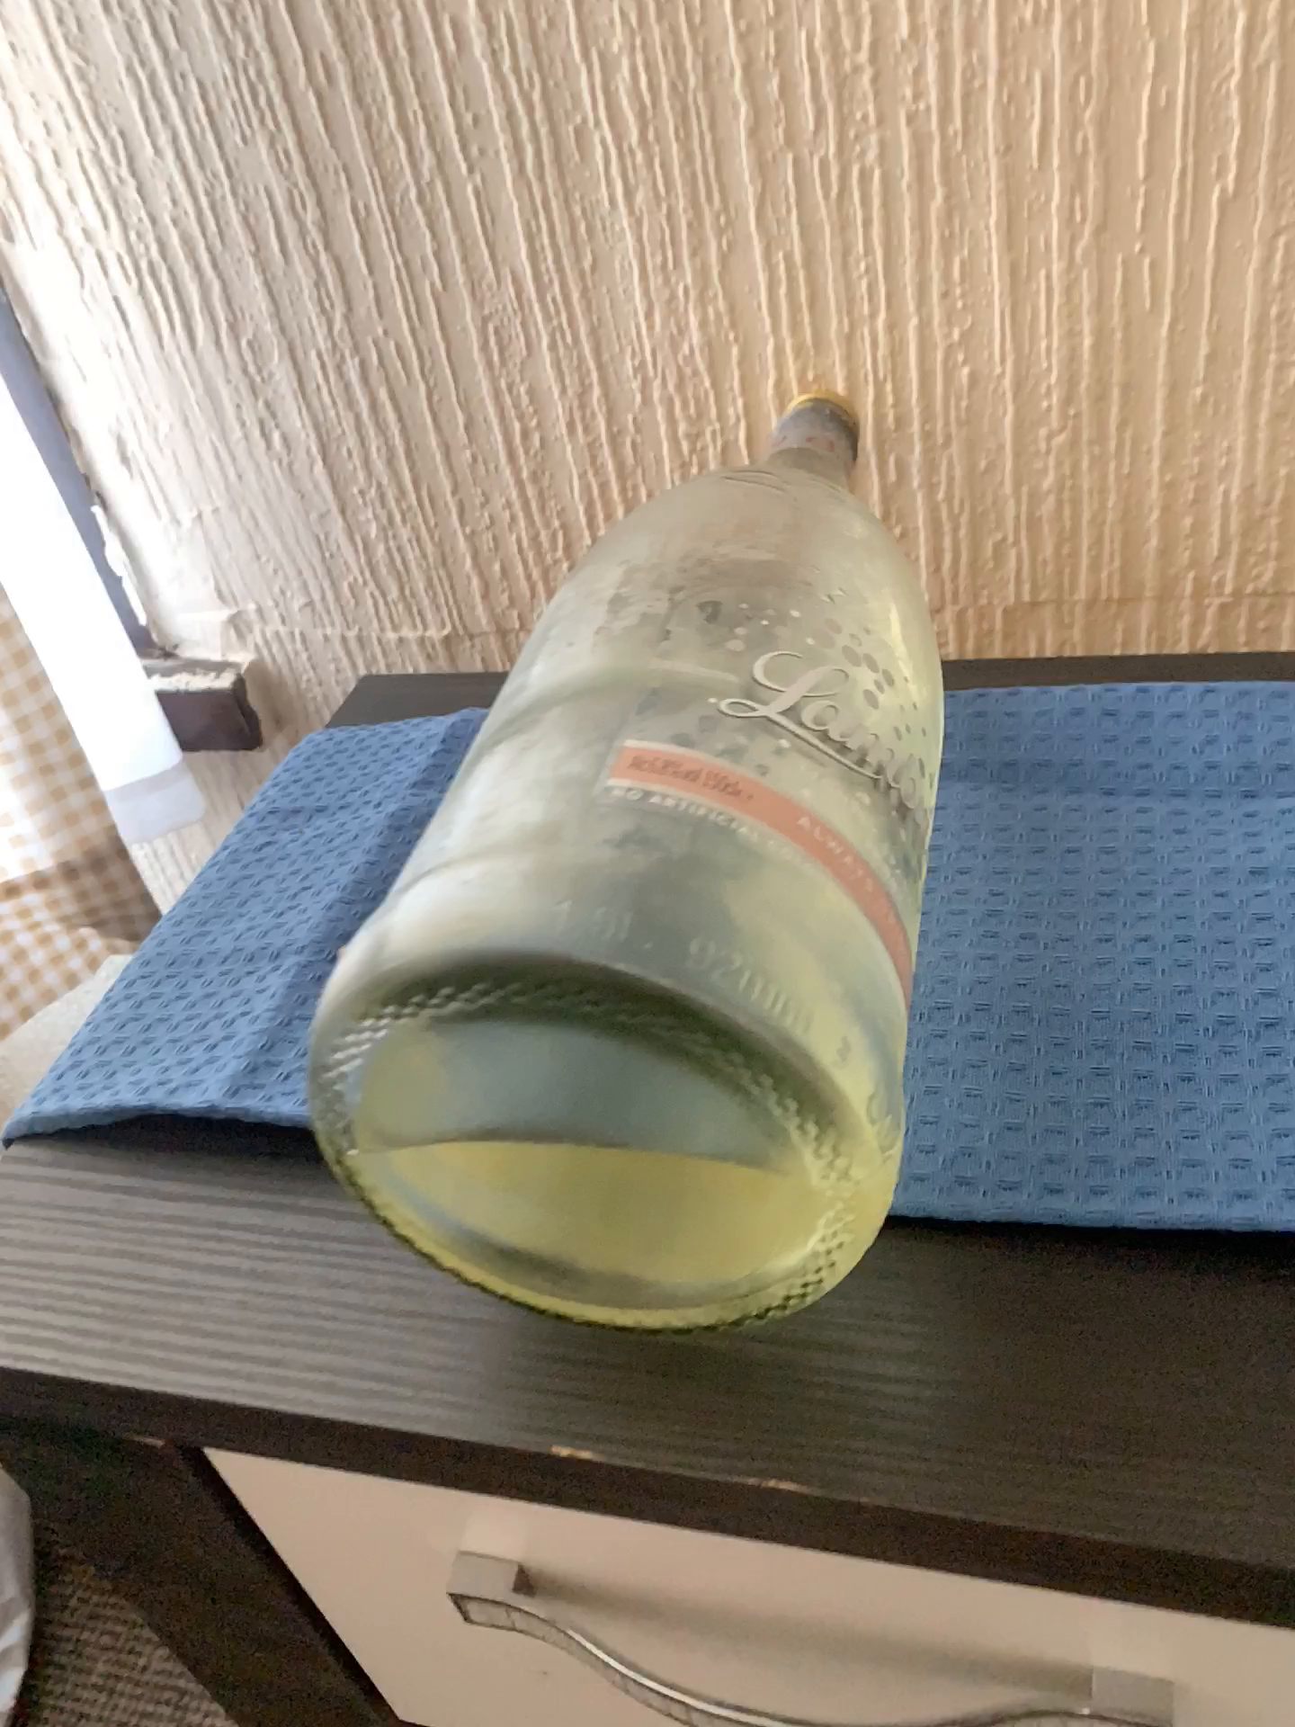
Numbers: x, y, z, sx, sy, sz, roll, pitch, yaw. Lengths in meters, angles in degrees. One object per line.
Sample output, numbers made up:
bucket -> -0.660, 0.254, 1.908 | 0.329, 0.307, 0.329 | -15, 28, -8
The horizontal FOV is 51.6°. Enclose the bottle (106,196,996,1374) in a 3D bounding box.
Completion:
bottle -> 0.015, -0.050, 0.355 | 0.110, 0.119, 0.323 | -17, 33, 27
